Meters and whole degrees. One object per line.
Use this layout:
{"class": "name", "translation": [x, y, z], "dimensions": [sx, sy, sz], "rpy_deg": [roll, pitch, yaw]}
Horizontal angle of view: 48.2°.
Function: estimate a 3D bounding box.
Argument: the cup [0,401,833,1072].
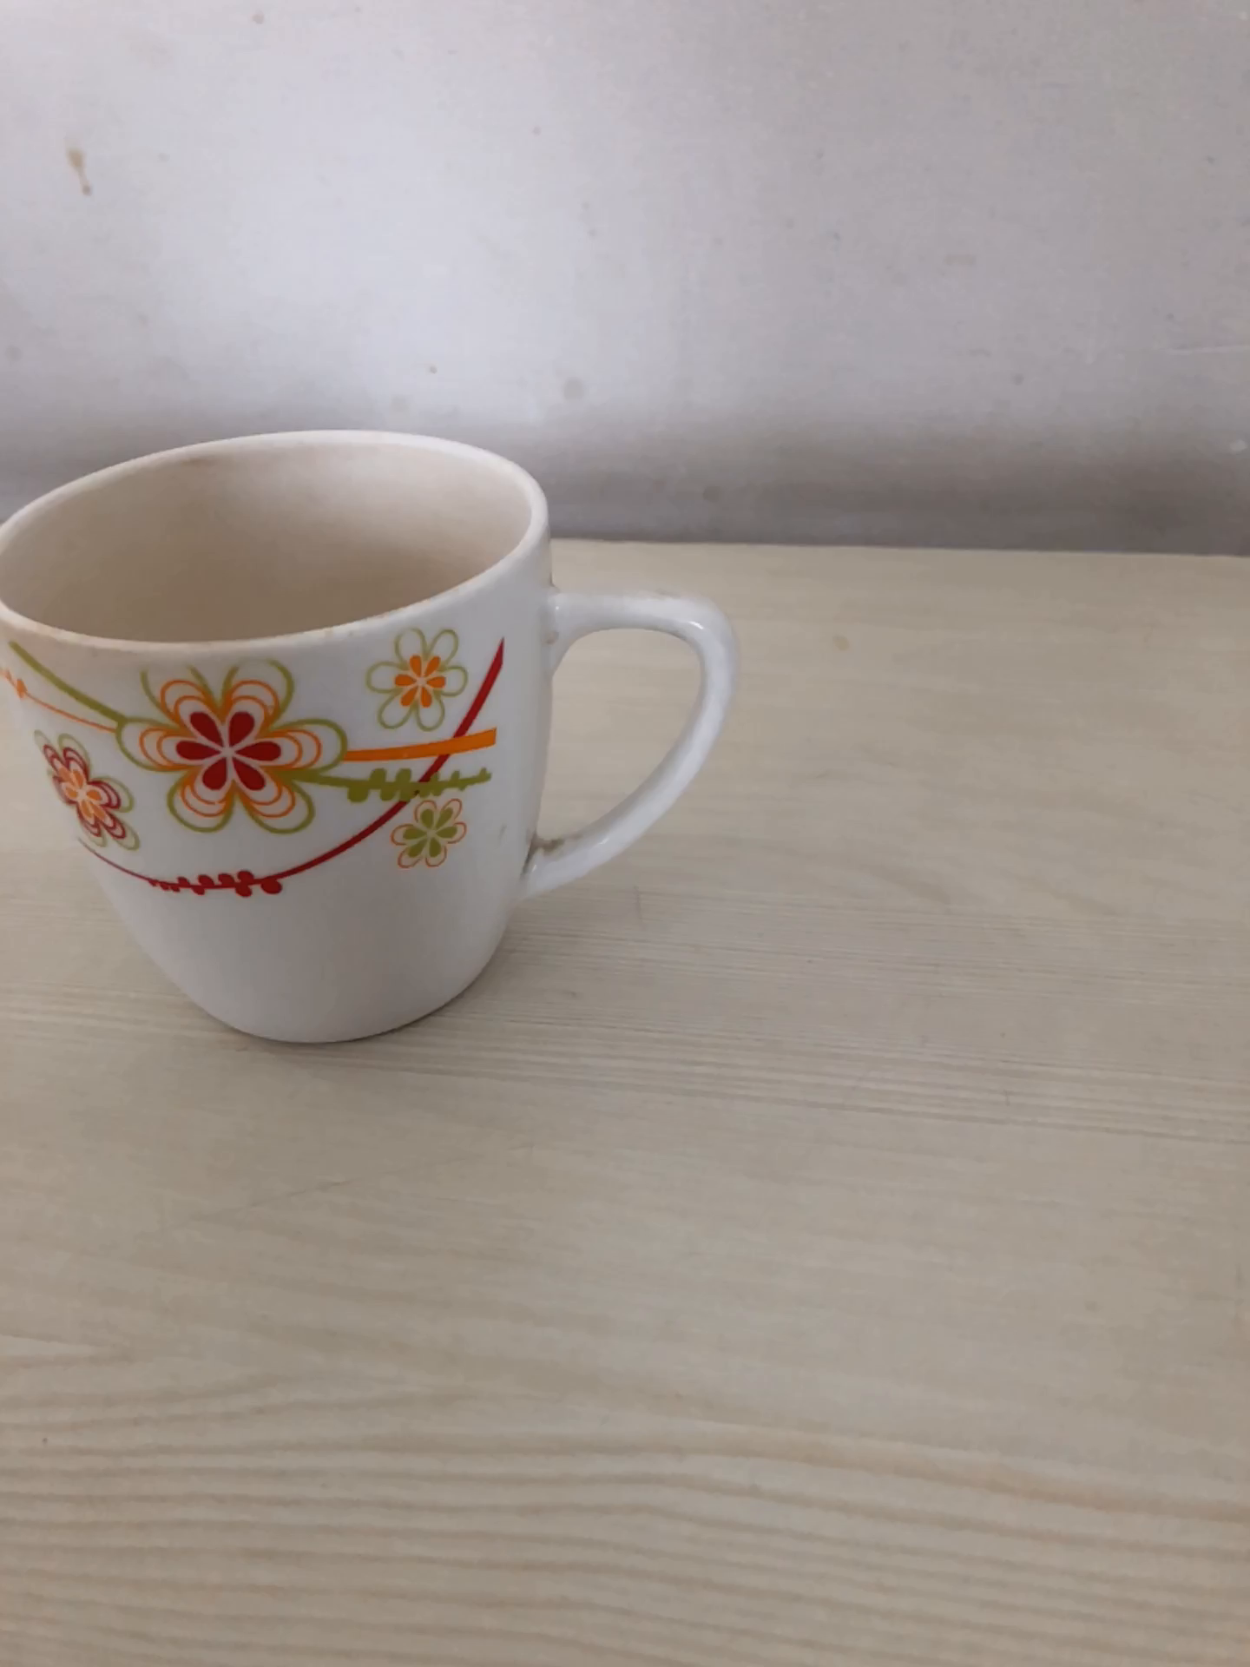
{"class": "cup", "translation": [-0.029, -0.017, 0.203], "dimensions": [0.110, 0.070, 0.070], "rpy_deg": [0, 34, 3]}
